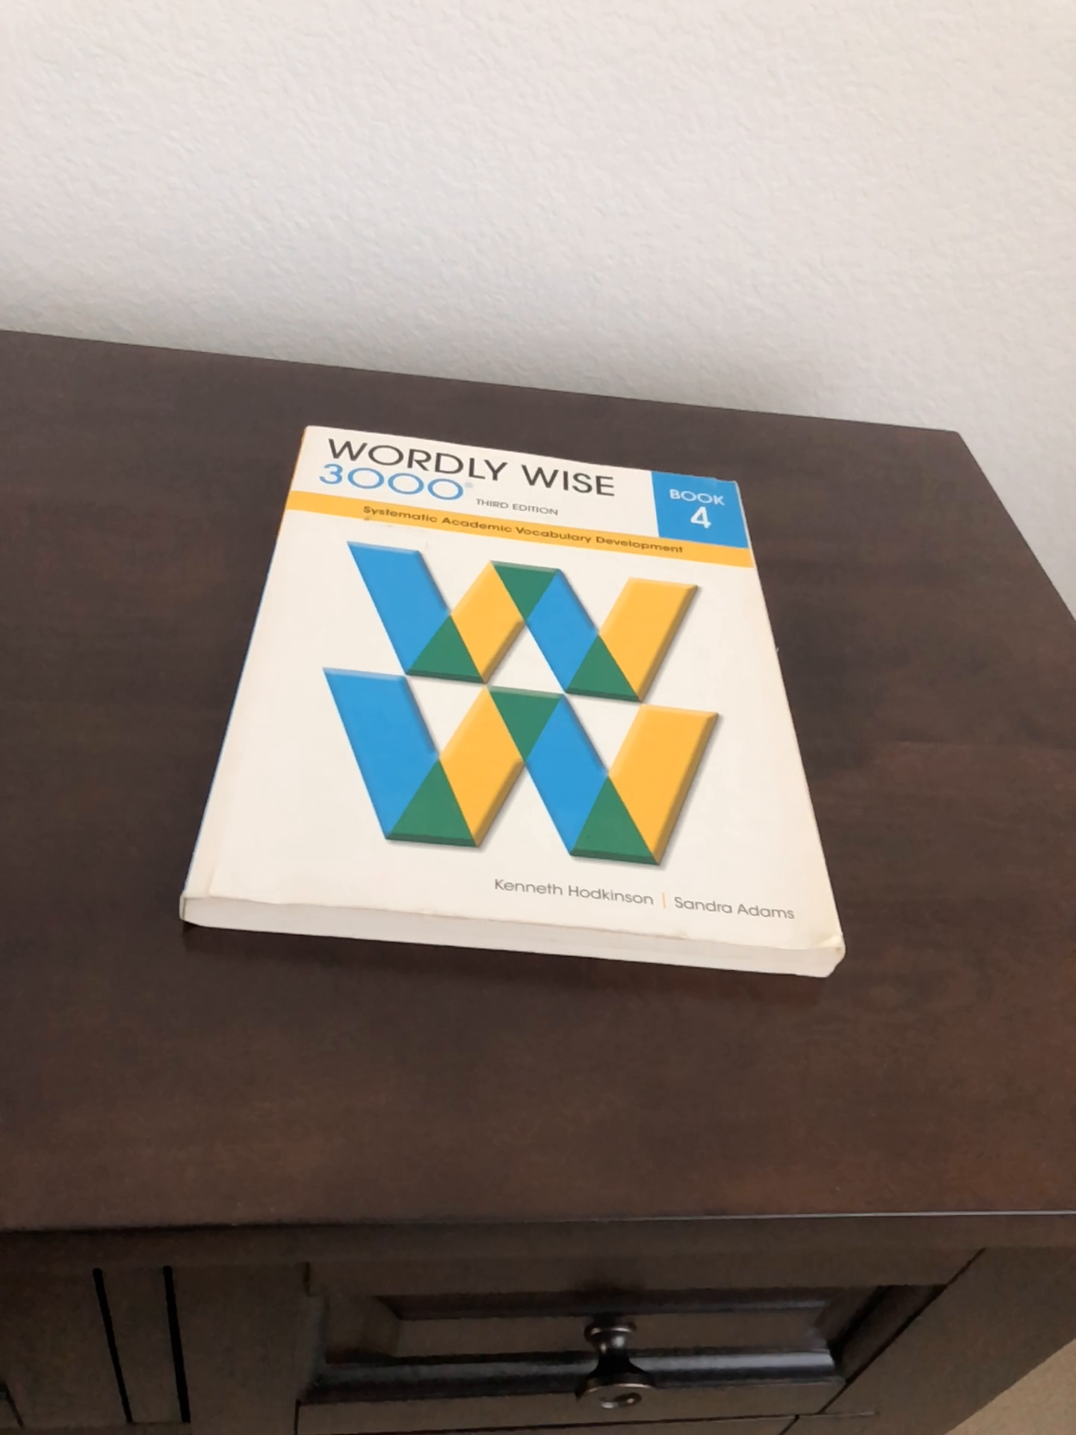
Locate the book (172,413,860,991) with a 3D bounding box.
[{"bbox_3d":[-0.005,-0.025,0.475,0.217,0.020,0.275,6,45,-7],"label":"book"}]
